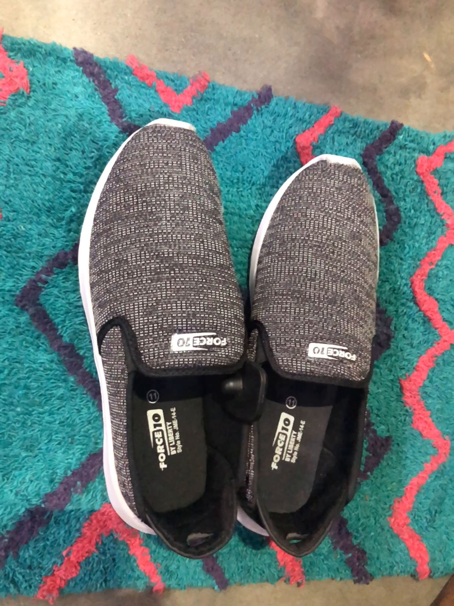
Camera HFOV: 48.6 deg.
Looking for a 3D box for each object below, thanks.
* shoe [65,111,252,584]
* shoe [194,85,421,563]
[{"bbox_3d":[-0.056,0.026,0.382,0.110,0.100,0.300,-3,88,-15],"label":"shoe"},{"bbox_3d":[0.060,0.017,0.409,0.110,0.100,0.330,9,85,-14],"label":"shoe"}]
